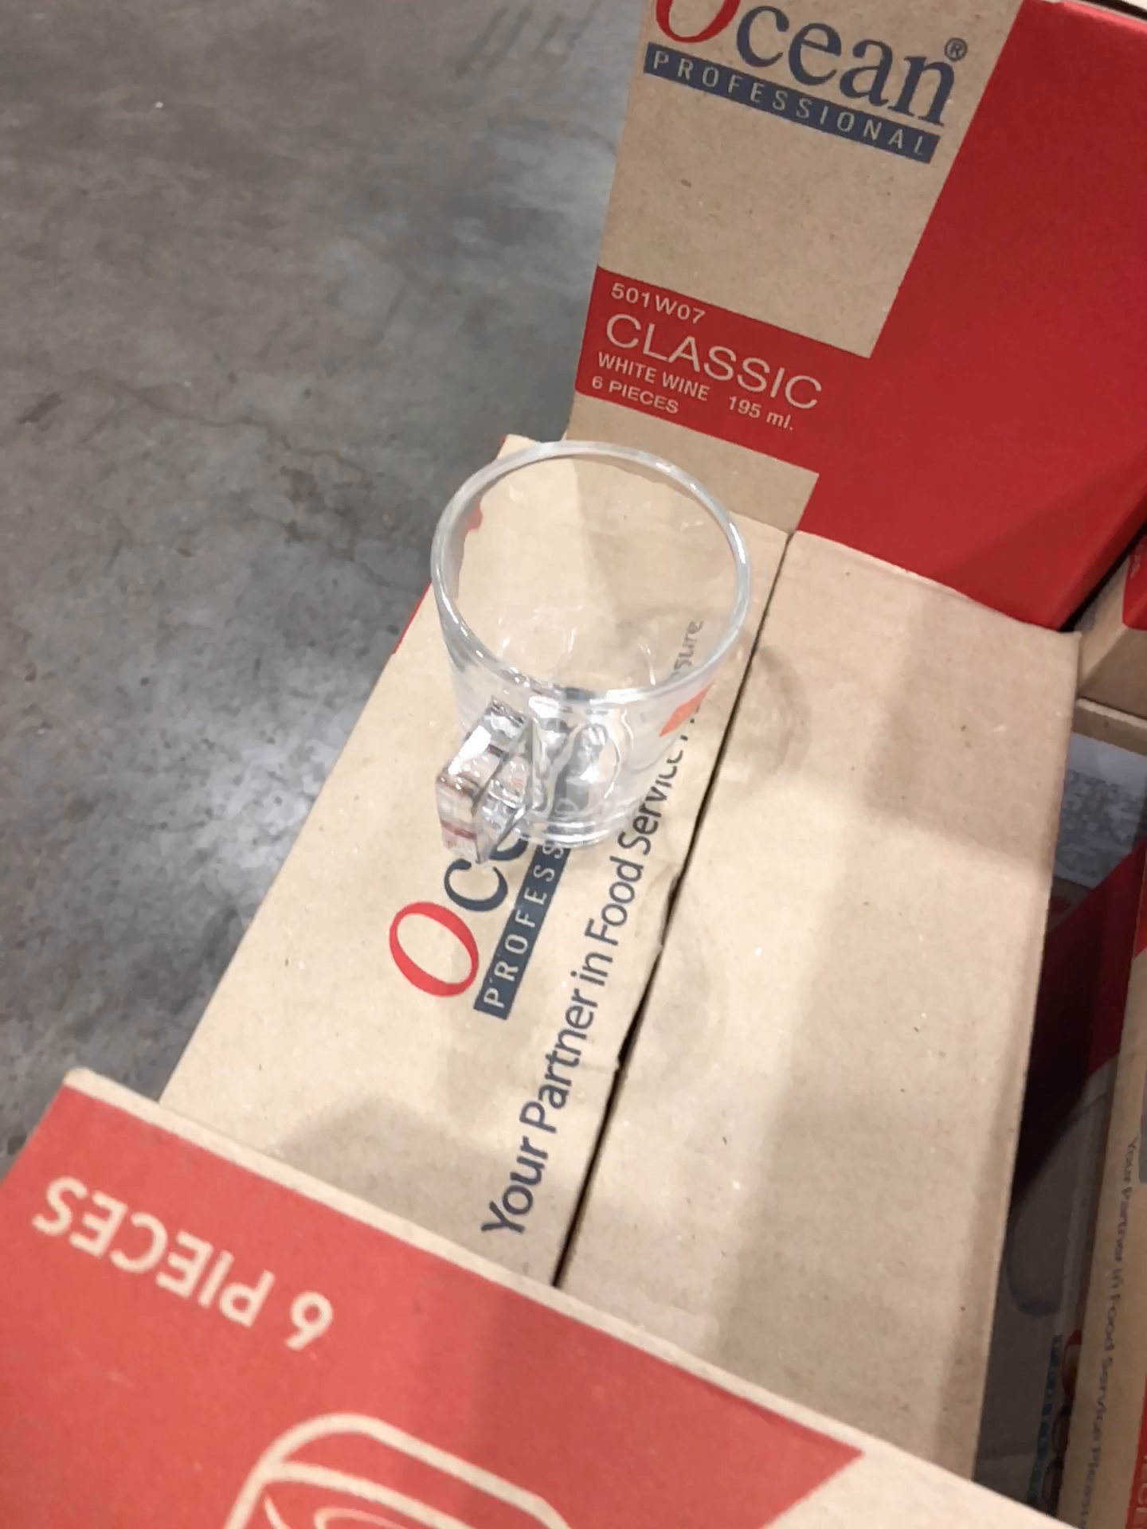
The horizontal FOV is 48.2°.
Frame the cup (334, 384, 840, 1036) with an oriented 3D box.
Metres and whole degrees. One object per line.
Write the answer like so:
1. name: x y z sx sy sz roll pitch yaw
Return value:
1. cup: -0.001 -0.006 0.259 0.060 0.100 0.070 28 59 9
